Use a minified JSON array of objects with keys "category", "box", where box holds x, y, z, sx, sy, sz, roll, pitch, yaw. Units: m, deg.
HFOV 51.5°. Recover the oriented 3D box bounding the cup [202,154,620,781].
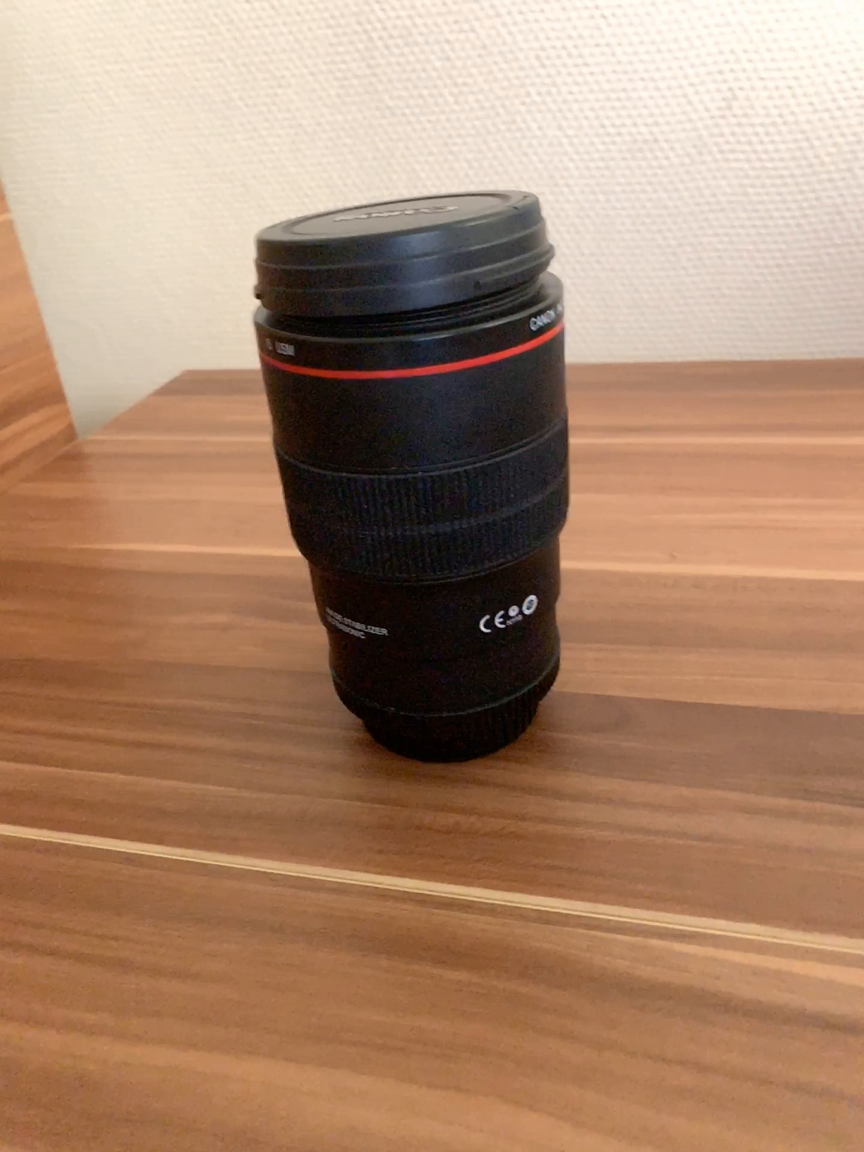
[{"category":"cup","box":[0.001,-0.027,0.236,0.080,0.139,0.070,-6,30,1]}]
